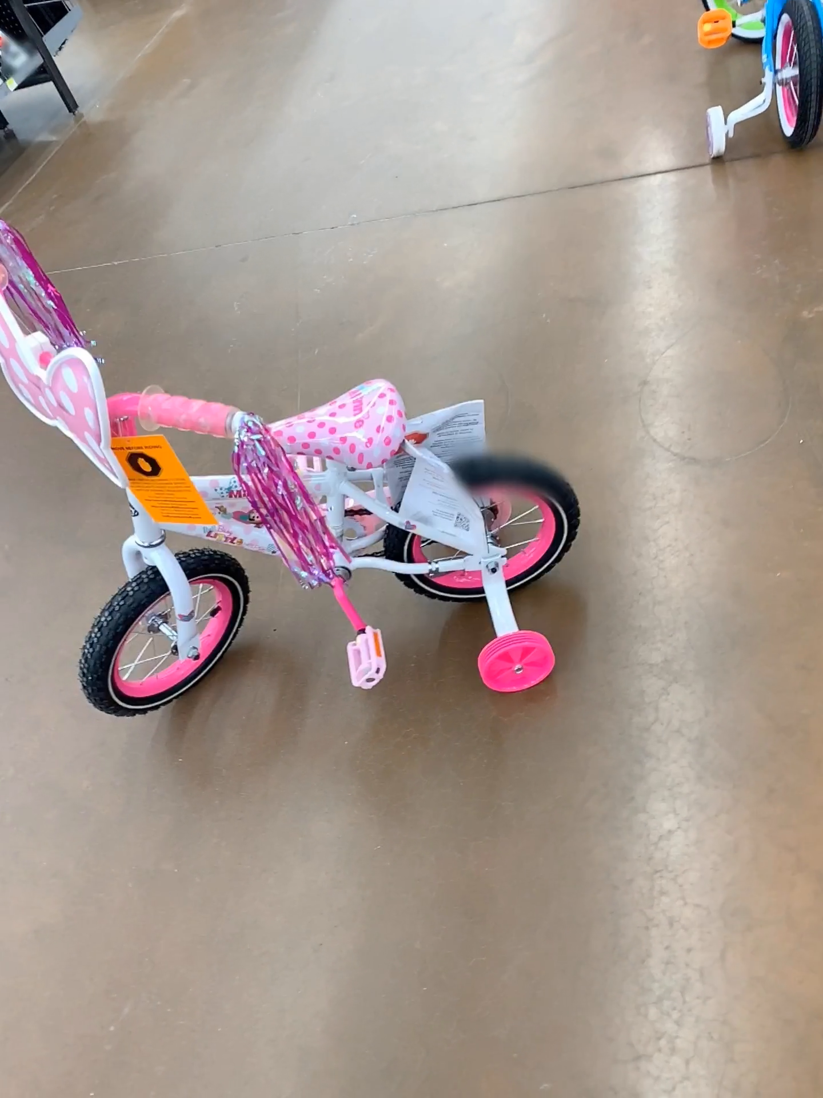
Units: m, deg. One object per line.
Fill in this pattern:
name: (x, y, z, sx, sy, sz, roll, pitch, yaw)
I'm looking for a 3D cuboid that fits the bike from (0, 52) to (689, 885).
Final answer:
bike: (-0.152, -0.057, 1.052, 0.759, 0.749, 0.445, -25, 46, -5)
